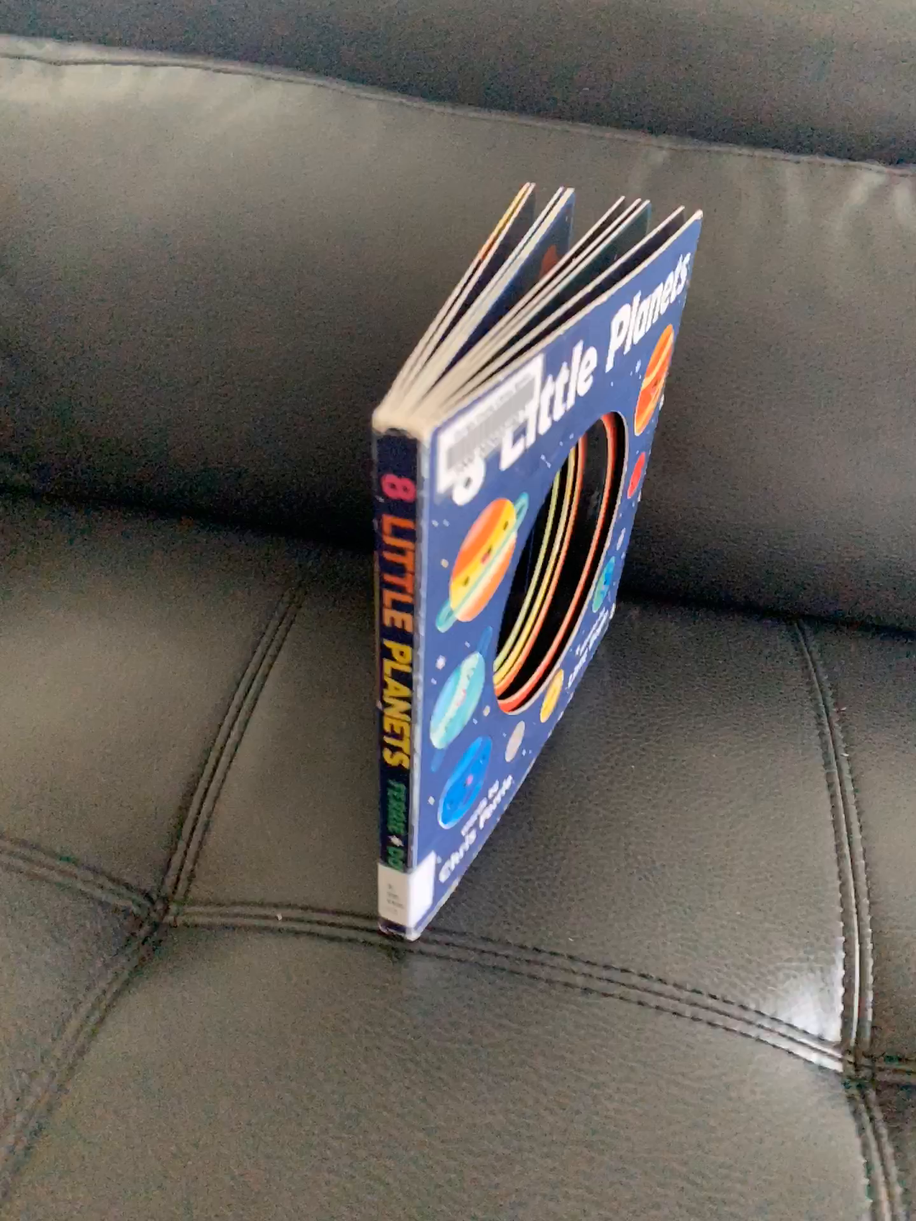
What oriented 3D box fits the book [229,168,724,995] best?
[{"bbox_3d":[0.020,-0.021,0.348,0.079,0.211,0.209,15,40,16],"label":"book"}]
